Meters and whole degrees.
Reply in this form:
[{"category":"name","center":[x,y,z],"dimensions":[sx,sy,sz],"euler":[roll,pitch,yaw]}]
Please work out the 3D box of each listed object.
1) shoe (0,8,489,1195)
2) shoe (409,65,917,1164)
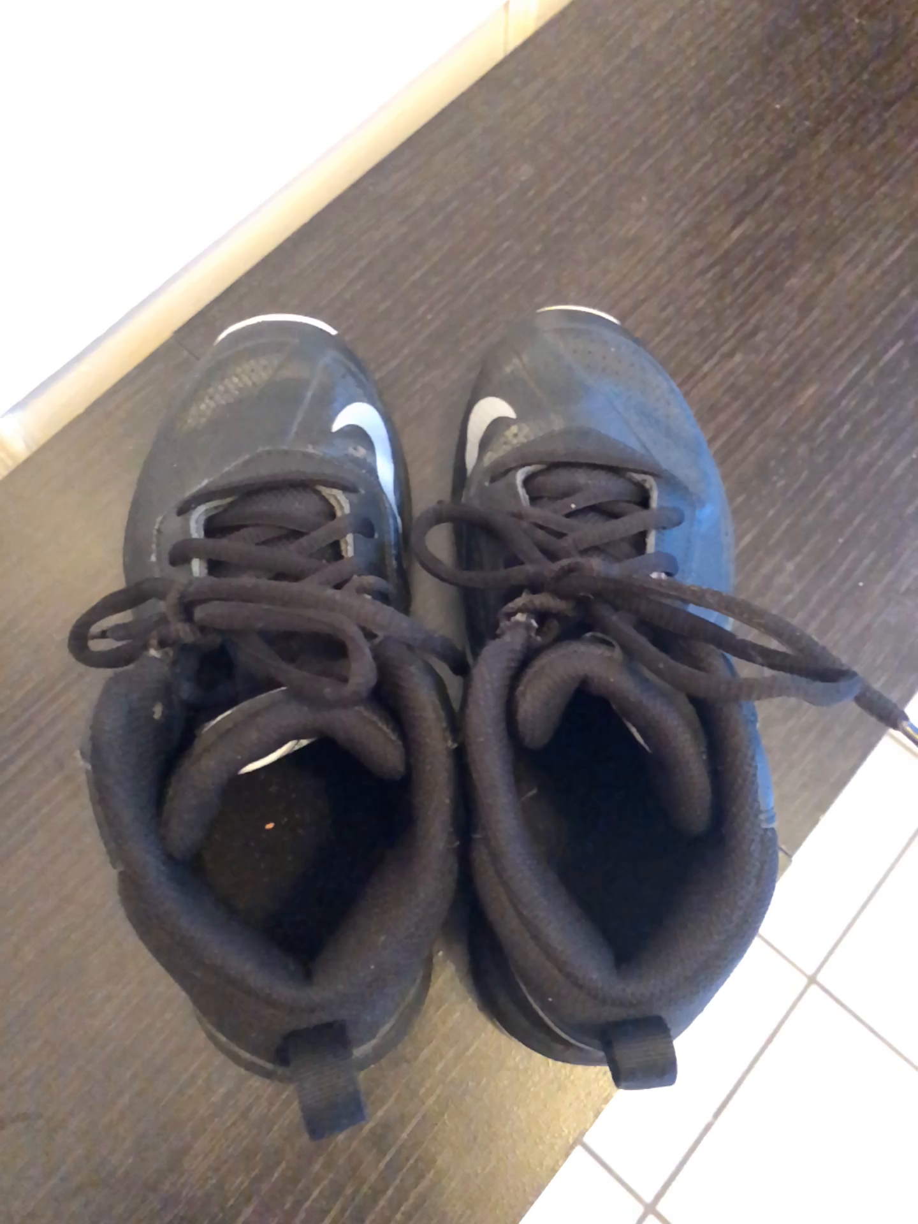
[{"category":"shoe","center":[-0.060,-0.008,0.277],"dimensions":[0.100,0.130,0.261],"euler":[-6,70,-3]},{"category":"shoe","center":[0.039,-0.001,0.280],"dimensions":[0.100,0.130,0.251],"euler":[-1,70,-1]}]
